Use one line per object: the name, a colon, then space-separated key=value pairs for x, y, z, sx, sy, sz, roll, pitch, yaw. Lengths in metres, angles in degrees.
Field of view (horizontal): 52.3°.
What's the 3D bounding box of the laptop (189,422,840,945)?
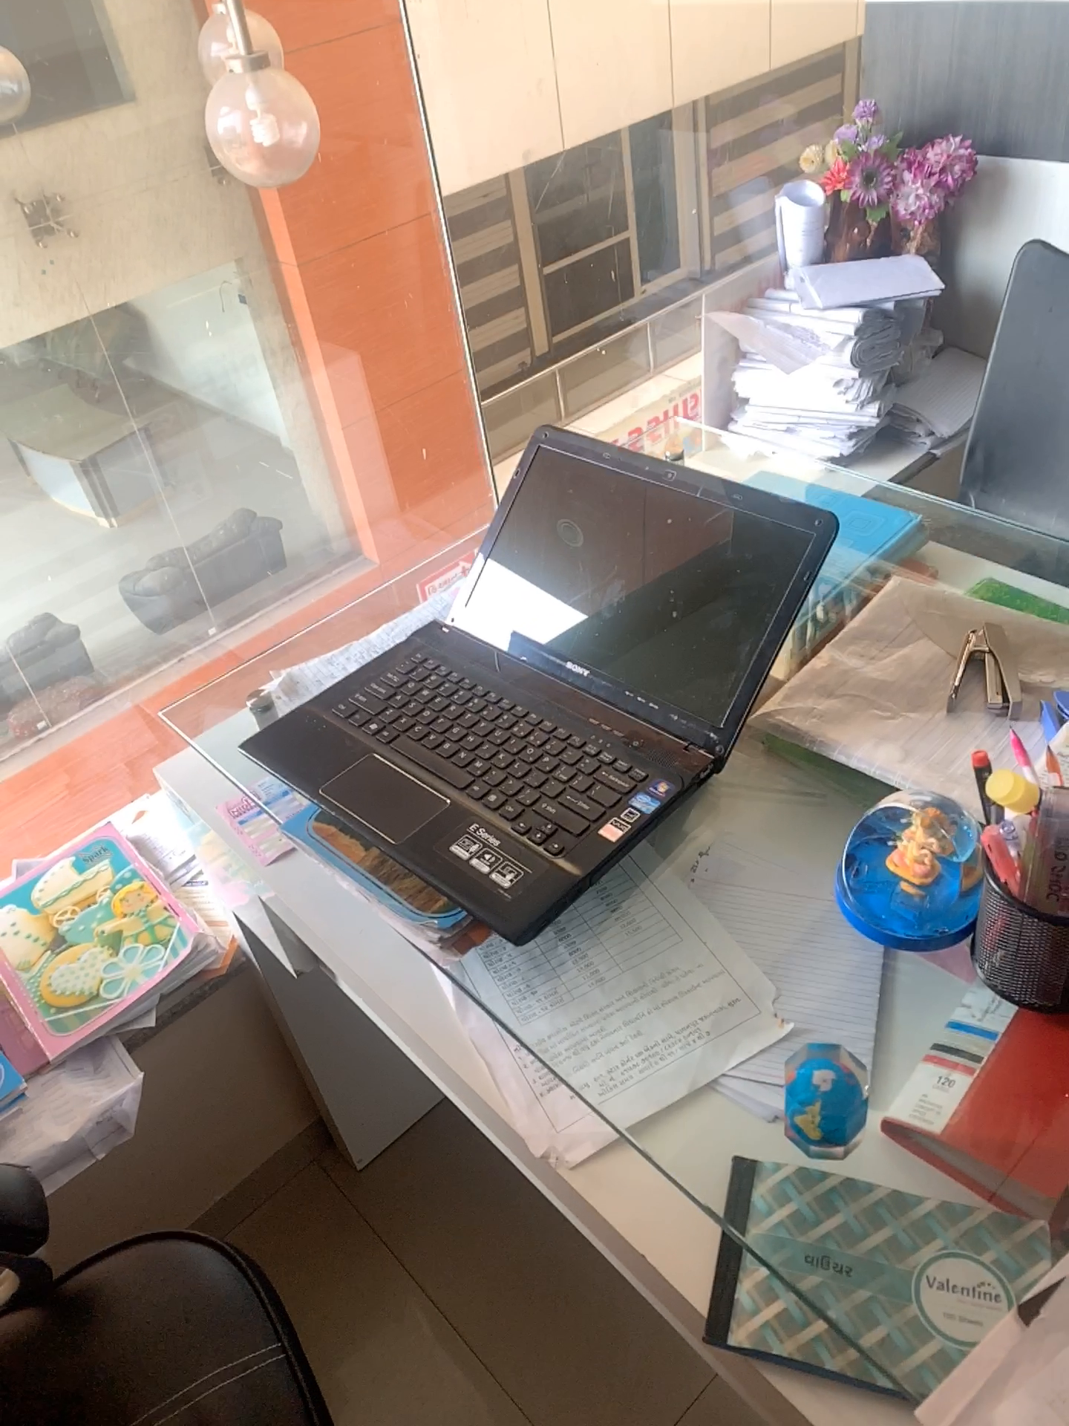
laptop: x=-0.005 y=-0.053 z=0.757 sx=0.286 sy=0.111 sz=0.337 roll=27 pitch=52 yaw=36
